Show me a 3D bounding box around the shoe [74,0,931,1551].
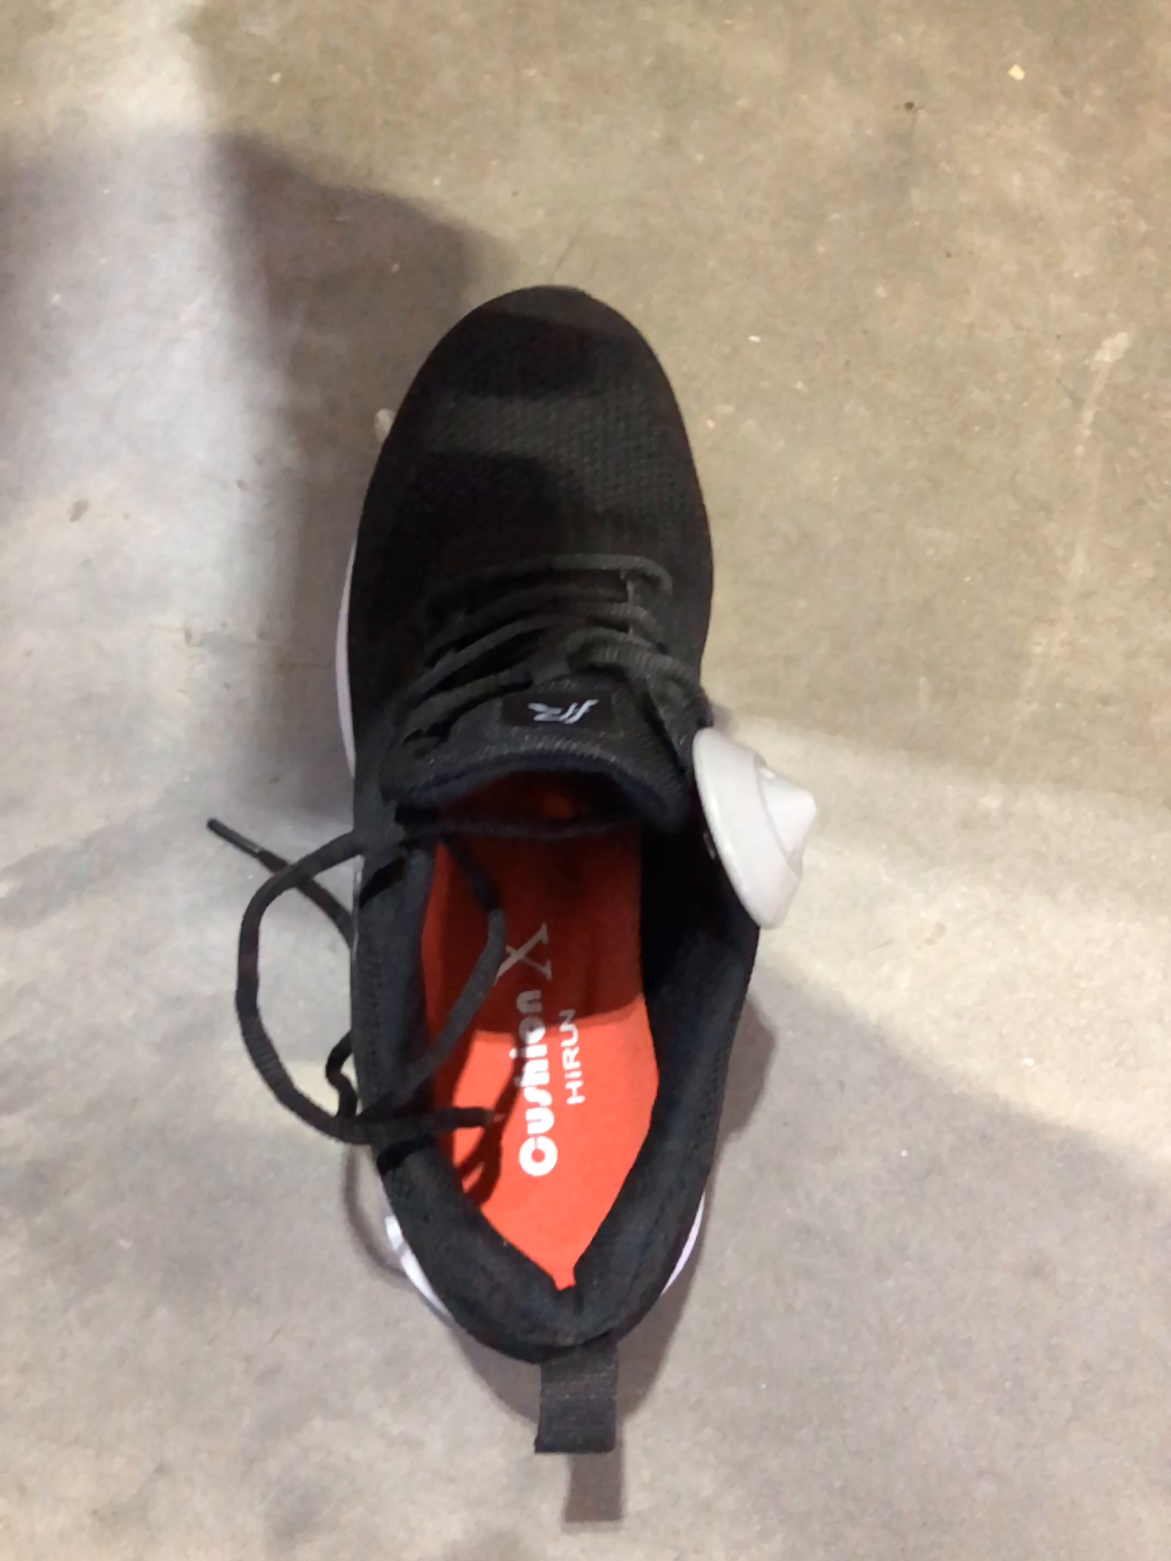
[{"bbox_3d":[-0.013,-0.008,0.285,0.130,0.120,0.280,0,78,-1],"label":"shoe"}]
